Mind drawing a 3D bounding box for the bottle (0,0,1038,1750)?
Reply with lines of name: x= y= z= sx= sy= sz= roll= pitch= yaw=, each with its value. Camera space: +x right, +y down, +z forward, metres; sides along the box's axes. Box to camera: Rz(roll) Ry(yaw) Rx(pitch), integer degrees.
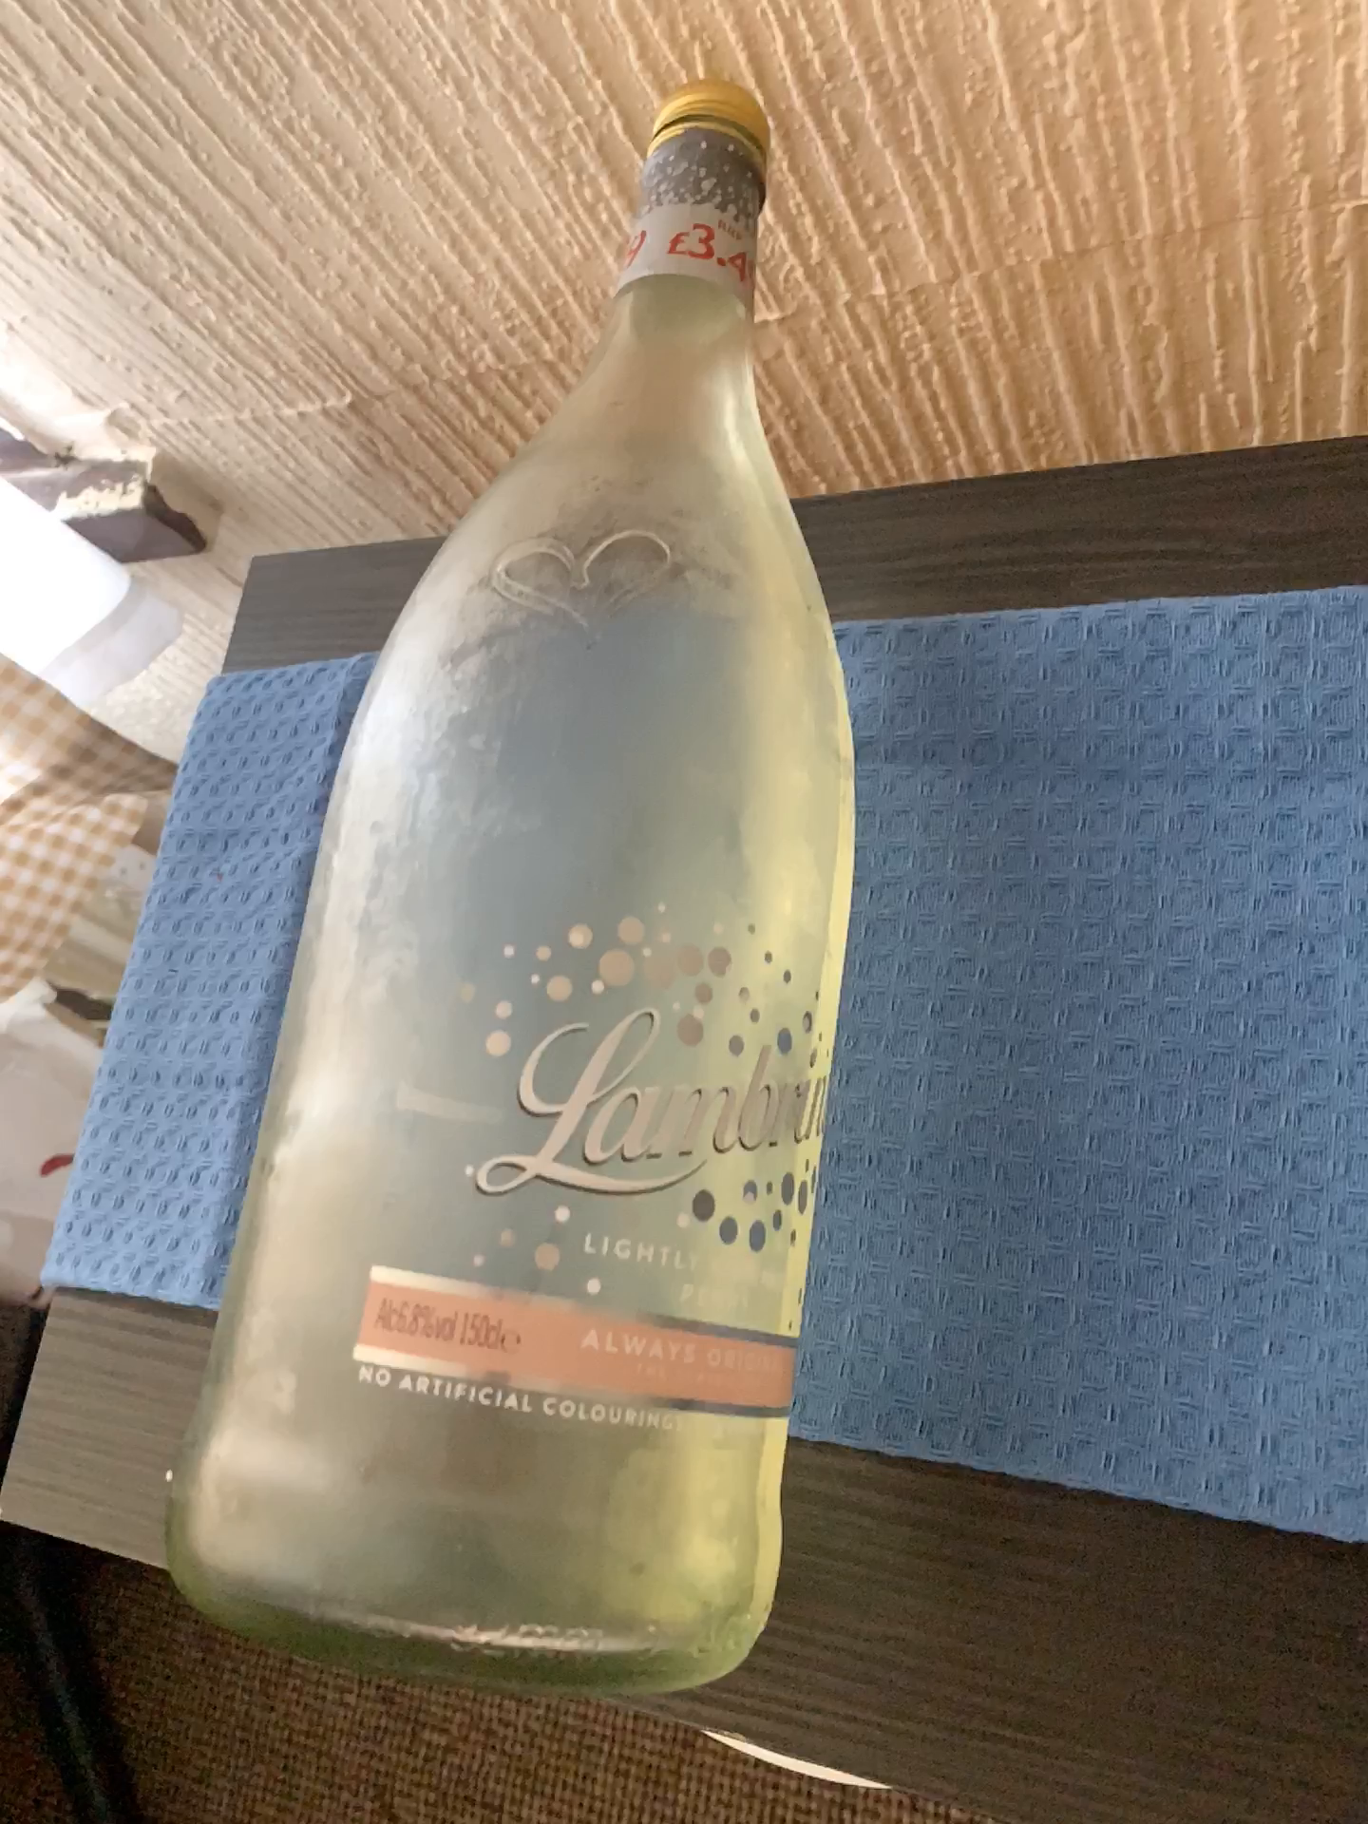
bottle: x=-0.017 y=-0.031 z=0.290 sx=0.110 sy=0.119 sz=0.321 roll=-8 pitch=67 yaw=44
